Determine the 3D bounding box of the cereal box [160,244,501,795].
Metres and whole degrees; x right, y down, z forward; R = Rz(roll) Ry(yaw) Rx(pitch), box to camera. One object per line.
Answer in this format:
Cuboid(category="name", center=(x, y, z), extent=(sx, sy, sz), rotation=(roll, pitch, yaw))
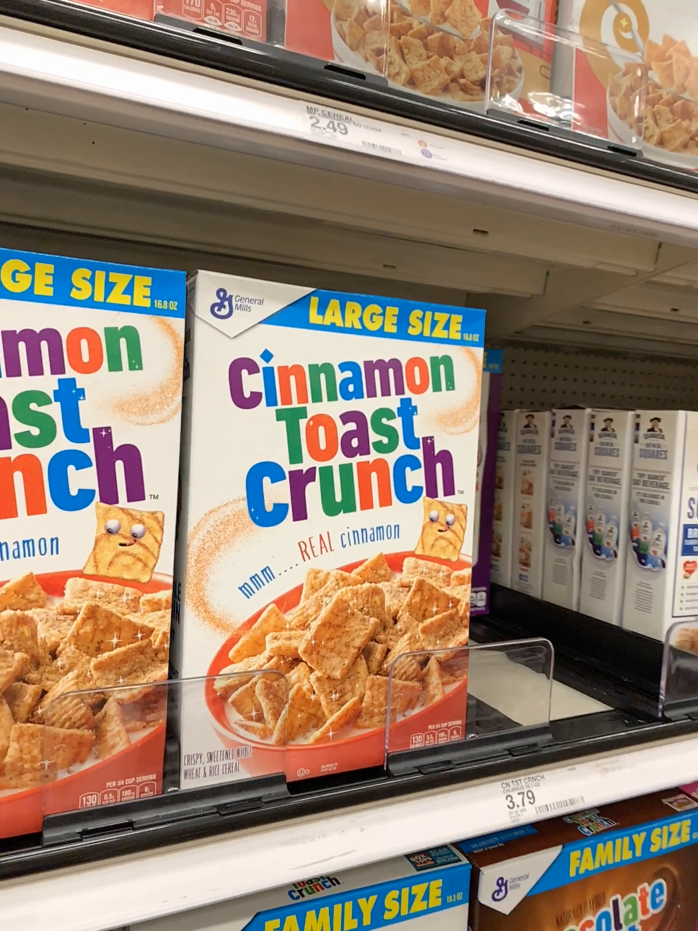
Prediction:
Cuboid(category="cereal box", center=(-0.011, 0.029, 0.450), extent=(0.190, 0.290, 0.070), rotation=(1, 2, -26))
